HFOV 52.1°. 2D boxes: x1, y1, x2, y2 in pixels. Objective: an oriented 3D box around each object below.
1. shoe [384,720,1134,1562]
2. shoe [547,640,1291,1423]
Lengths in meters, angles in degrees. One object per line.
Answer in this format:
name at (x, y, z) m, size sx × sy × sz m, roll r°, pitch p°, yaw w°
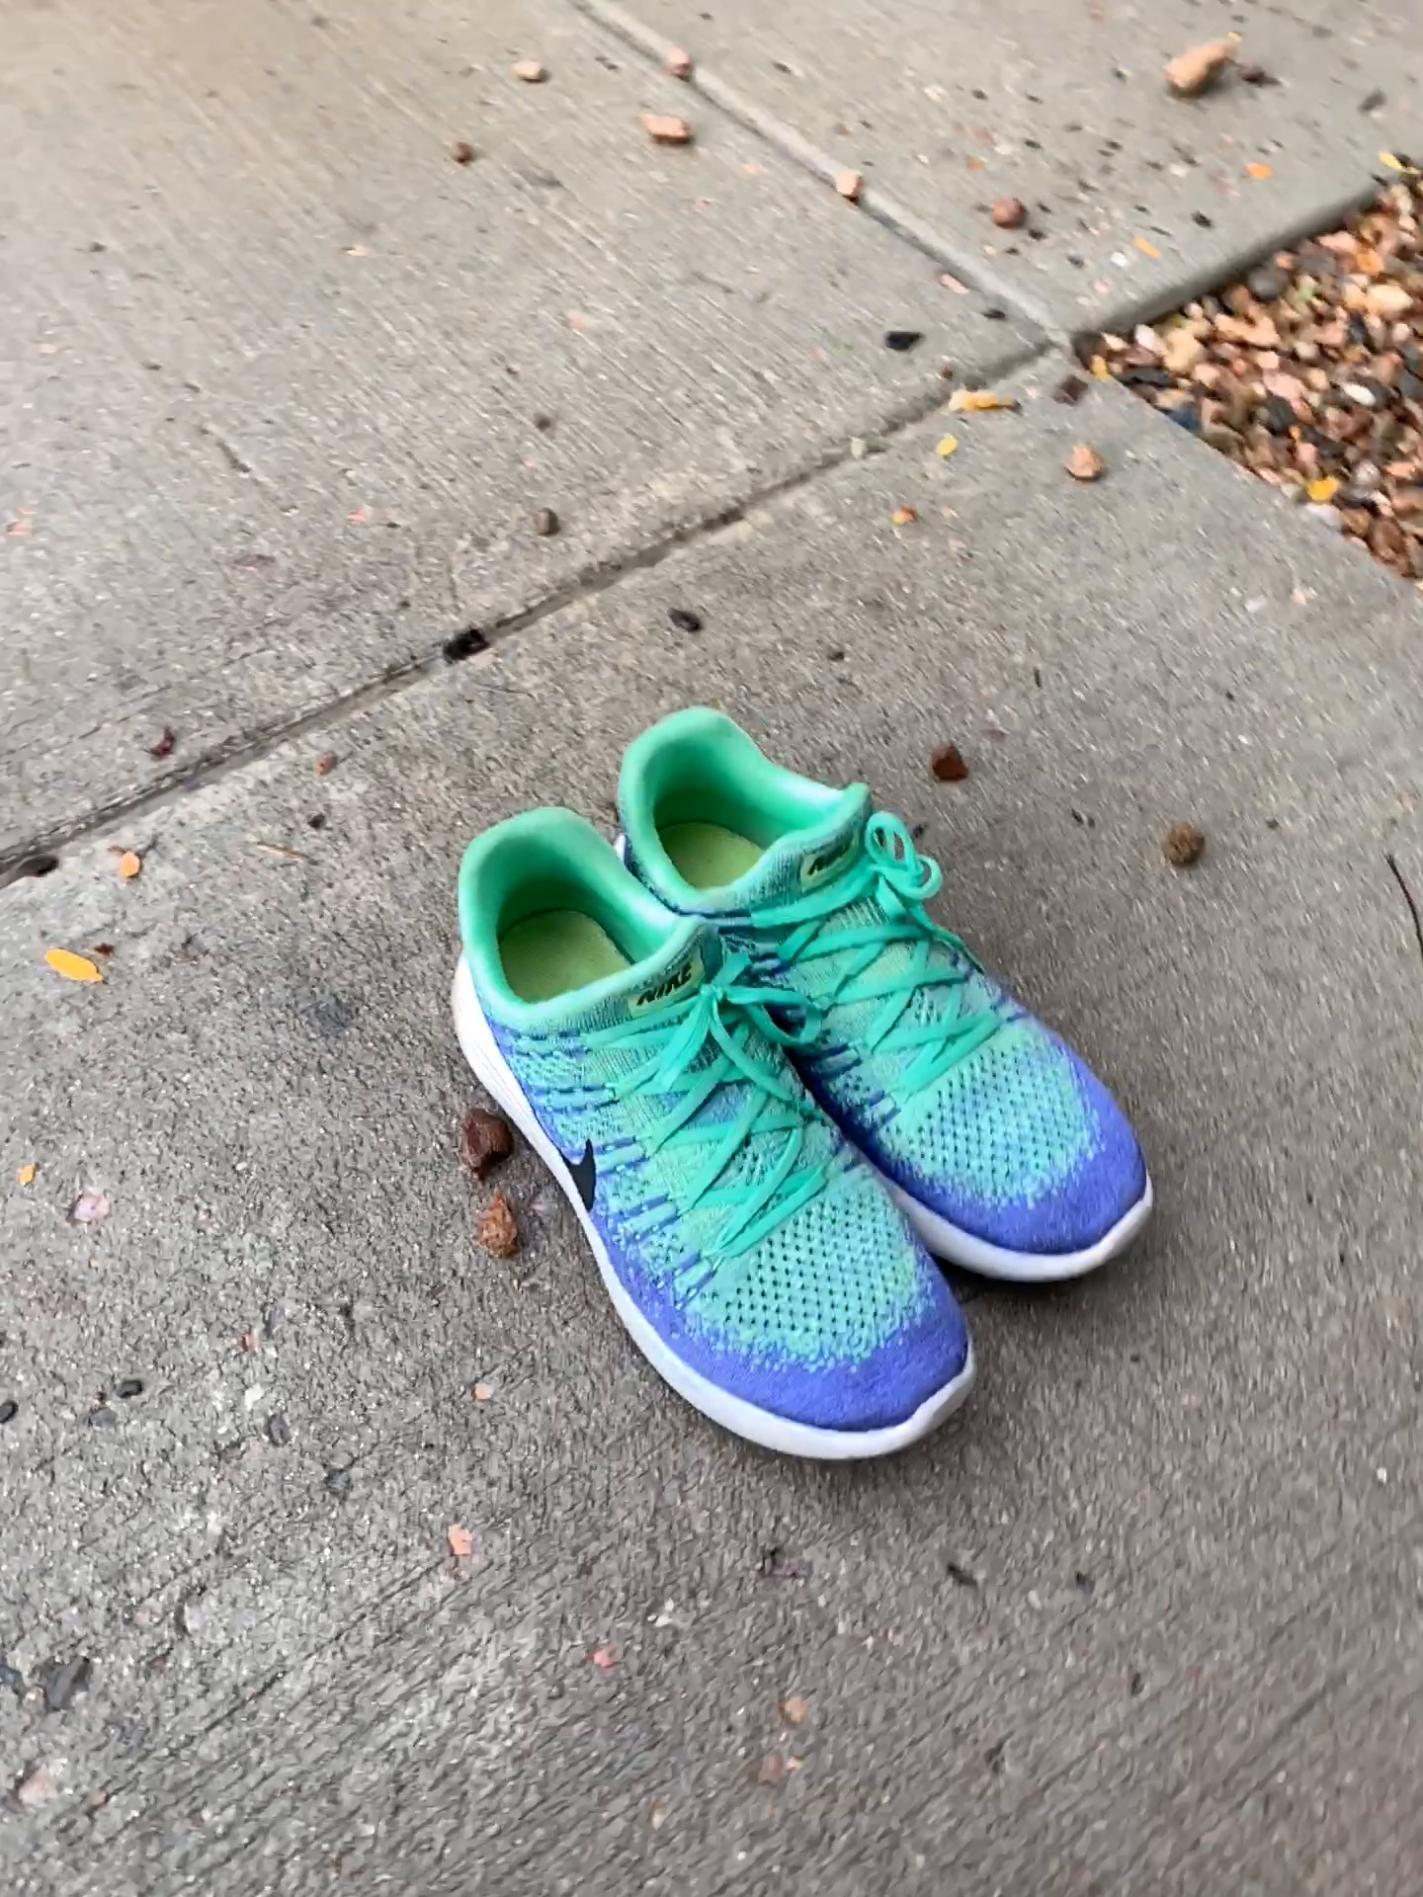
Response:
shoe at (0.001, 0.061, 0.522) m, size 0.100 × 0.110 × 0.270 m, roll -30°, pitch 66°, yaw -26°
shoe at (0.067, 0.027, 0.599) m, size 0.120 × 0.110 × 0.290 m, roll -33°, pitch 67°, yaw -21°
